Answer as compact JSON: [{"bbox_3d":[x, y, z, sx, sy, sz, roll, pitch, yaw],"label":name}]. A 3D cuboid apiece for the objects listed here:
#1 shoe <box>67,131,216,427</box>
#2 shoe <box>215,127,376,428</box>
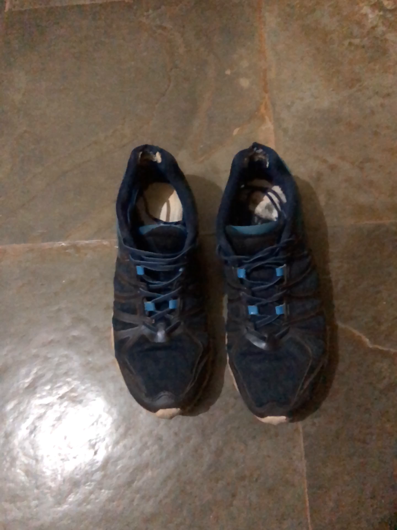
[{"bbox_3d":[-0.053,0.017,0.462,0.120,0.110,0.281,-4,71,4],"label":"shoe"},{"bbox_3d":[0.084,0.015,0.451,0.120,0.110,0.281,-3,71,4],"label":"shoe"}]
